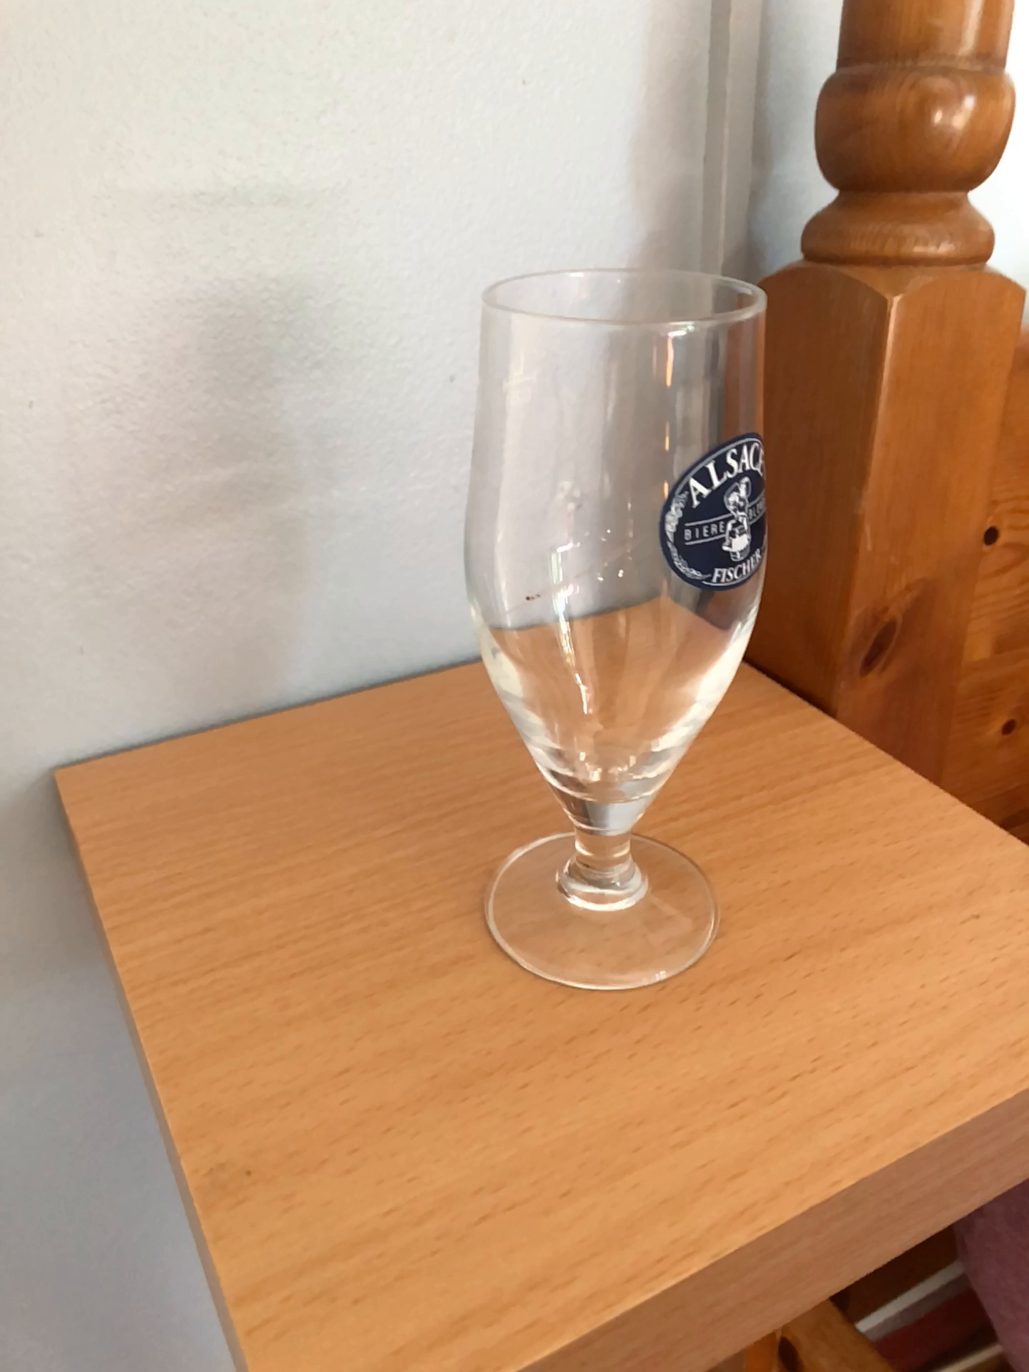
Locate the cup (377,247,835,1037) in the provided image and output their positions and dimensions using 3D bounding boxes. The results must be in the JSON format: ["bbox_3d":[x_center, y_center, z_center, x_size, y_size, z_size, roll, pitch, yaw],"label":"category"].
[{"bbox_3d":[0.020,-0.012,0.278,0.068,0.166,0.068,-1,28,0],"label":"cup"}]
